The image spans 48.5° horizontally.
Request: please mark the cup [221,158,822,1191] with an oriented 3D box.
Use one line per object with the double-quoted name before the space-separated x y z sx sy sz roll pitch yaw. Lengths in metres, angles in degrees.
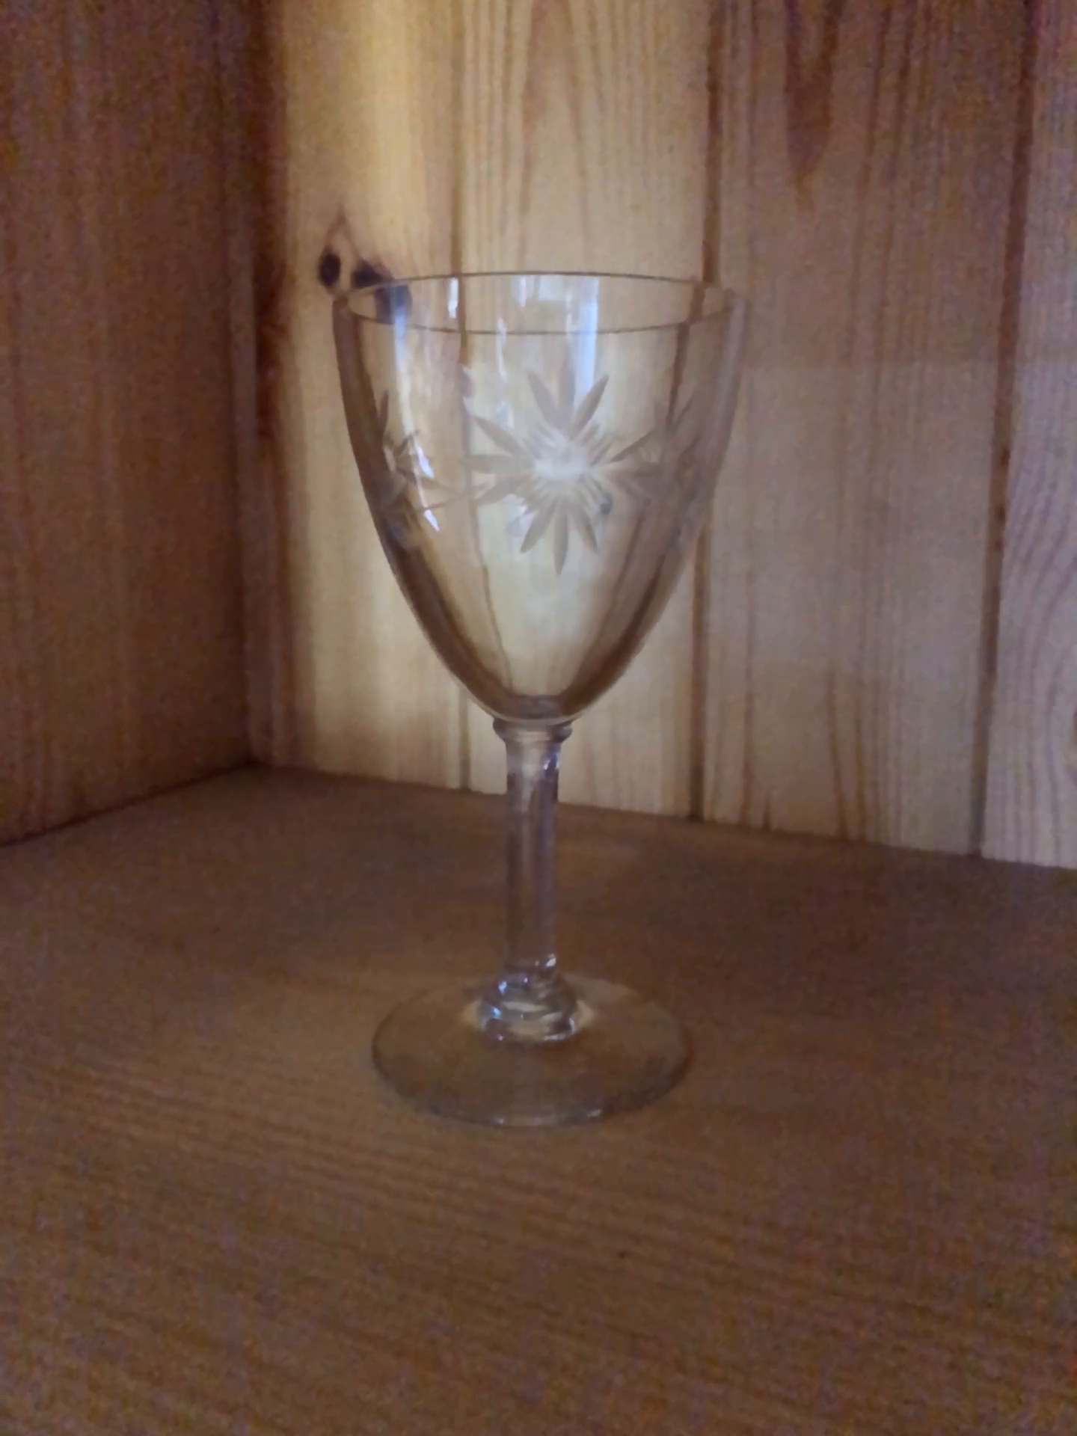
"cup" -0.002 -0.010 0.208 0.070 0.140 0.070 1 10 0
